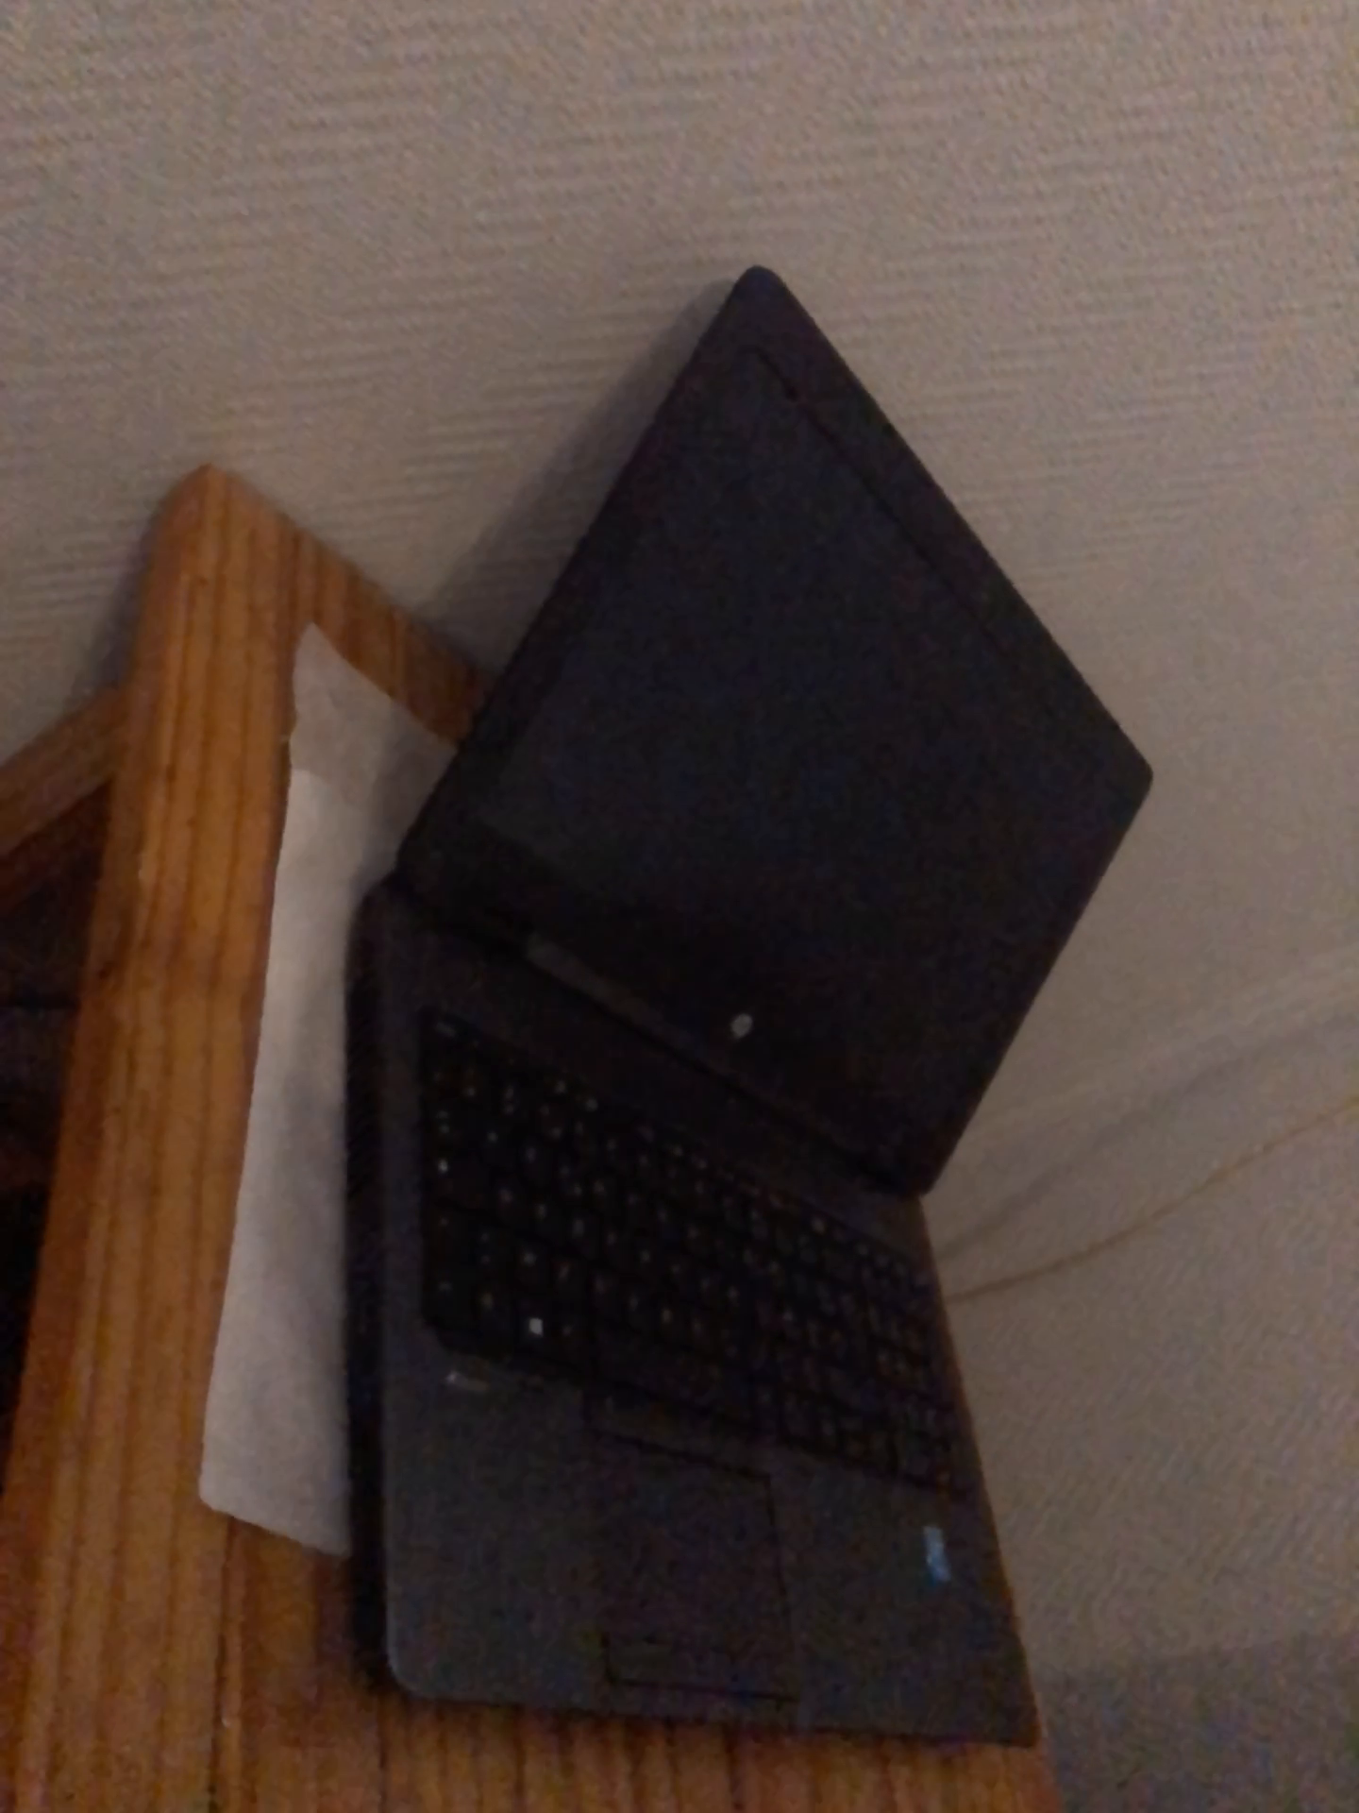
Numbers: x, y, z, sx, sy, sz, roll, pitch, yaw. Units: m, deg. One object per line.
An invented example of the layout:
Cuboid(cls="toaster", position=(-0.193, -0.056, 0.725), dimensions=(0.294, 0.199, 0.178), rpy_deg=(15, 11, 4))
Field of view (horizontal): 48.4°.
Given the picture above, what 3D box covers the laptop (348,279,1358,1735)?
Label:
Cuboid(cls="laptop", position=(0.082, 0.064, 0.588), dimensions=(0.383, 0.195, 0.410), rpy_deg=(36, 34, -45))
